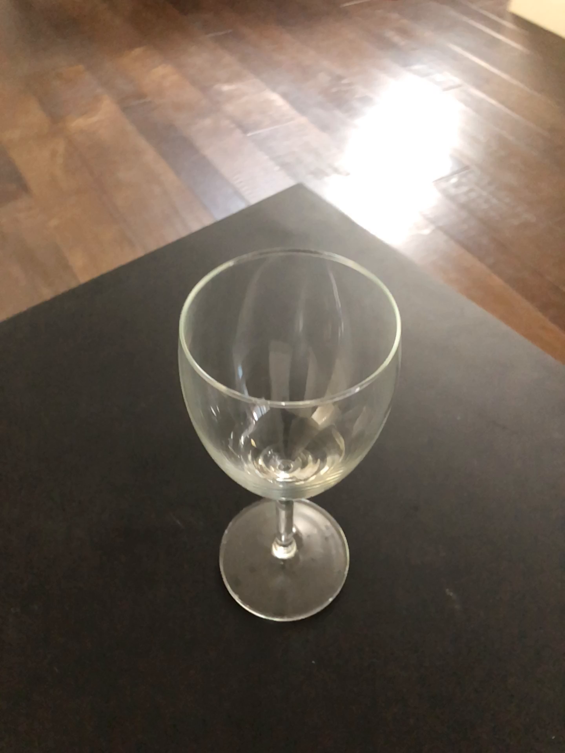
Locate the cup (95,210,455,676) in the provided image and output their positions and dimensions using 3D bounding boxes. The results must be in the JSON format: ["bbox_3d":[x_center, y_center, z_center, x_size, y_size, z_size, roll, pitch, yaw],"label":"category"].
[{"bbox_3d":[-0.002,0.039,0.266,0.080,0.179,0.080,0,49,-1],"label":"cup"}]
